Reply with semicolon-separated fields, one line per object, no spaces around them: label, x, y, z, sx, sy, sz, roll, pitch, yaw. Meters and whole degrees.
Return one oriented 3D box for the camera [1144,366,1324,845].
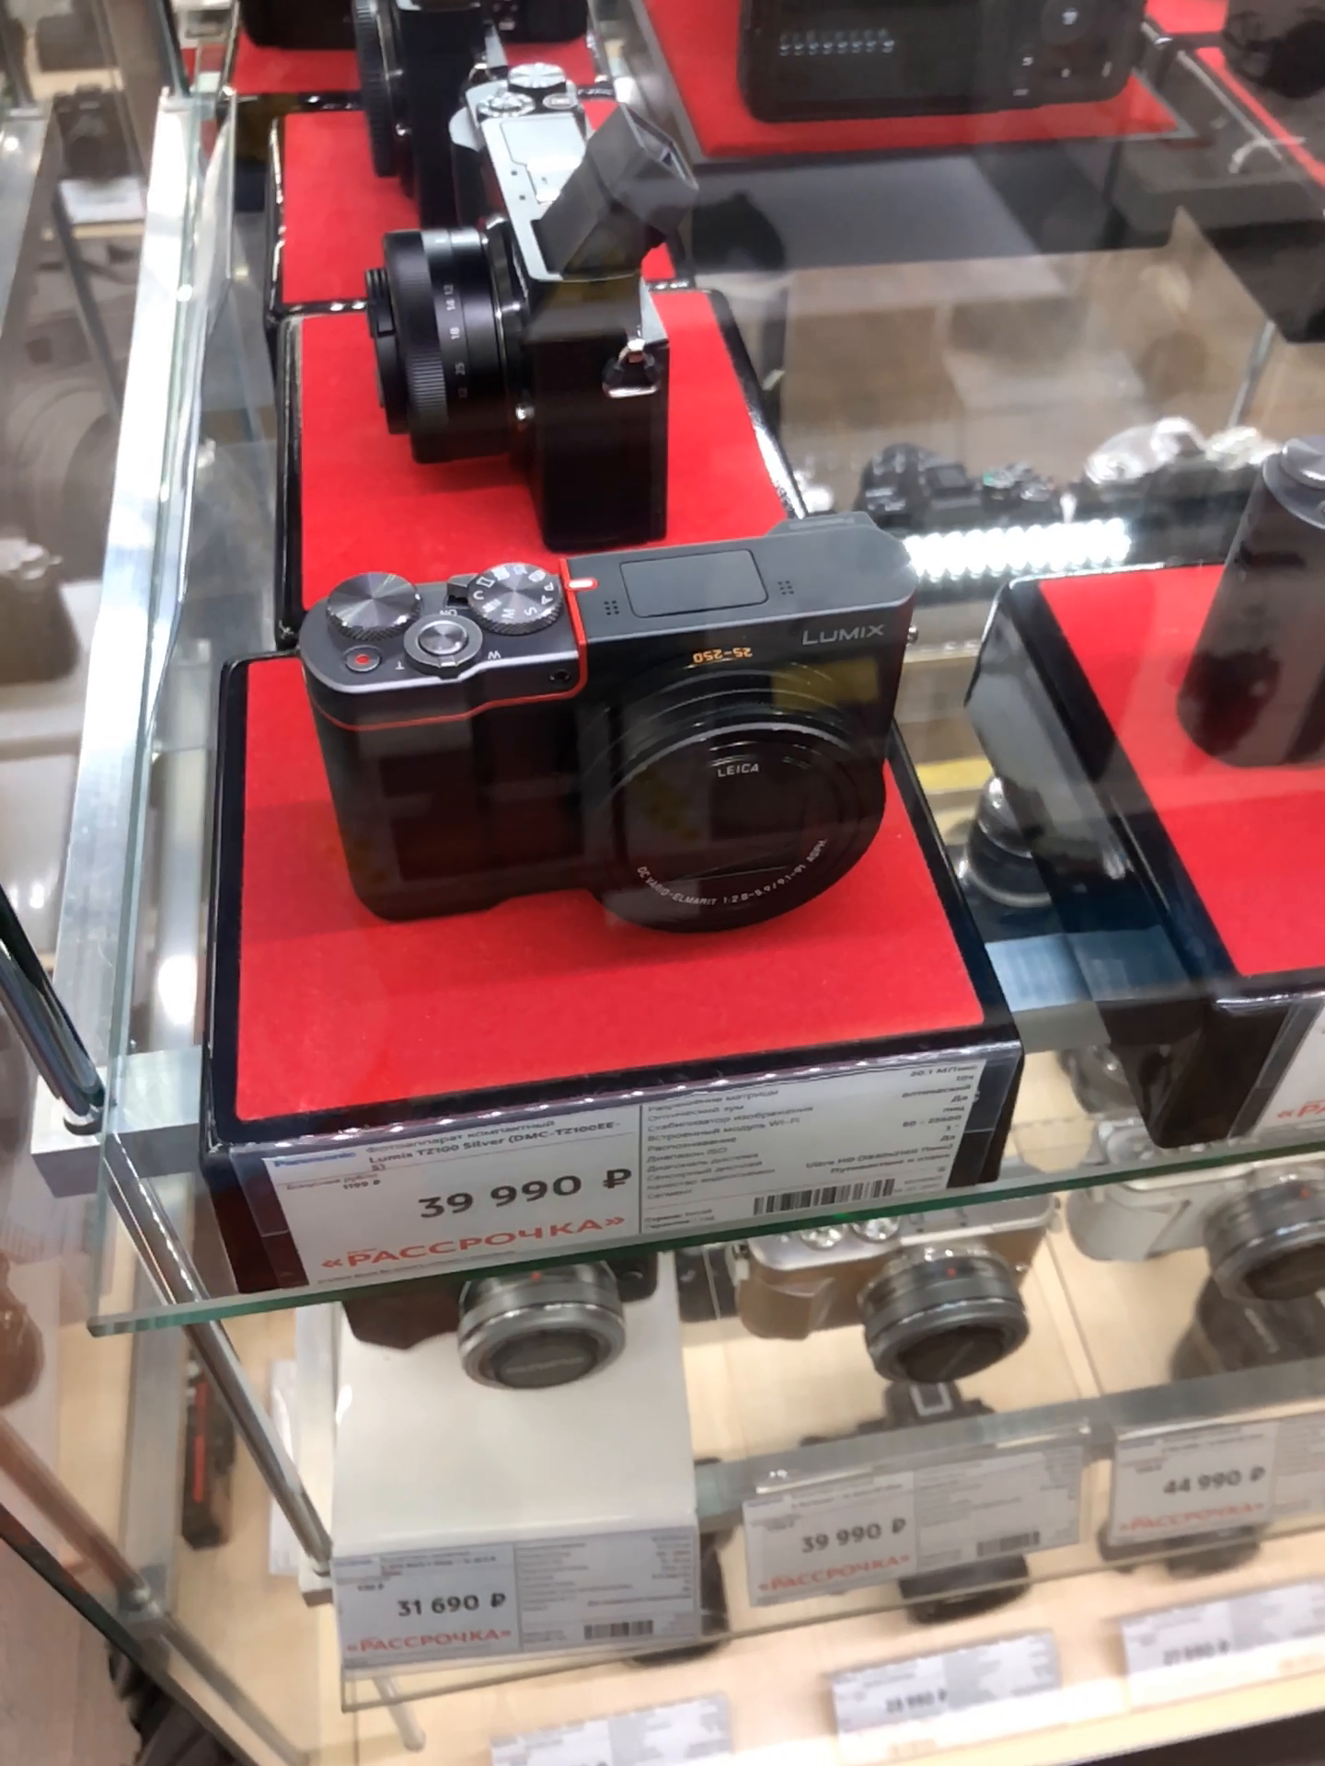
camera;0.168;-0.055;0.294;0.113;0.070;0.051;-5;50;-5

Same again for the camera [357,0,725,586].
camera;-0.032;-0.155;0.374;0.069;0.101;0.113;-8;50;-8

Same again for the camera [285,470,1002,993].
camera;-0.006;-0.027;0.272;0.113;0.070;0.050;-7;50;-7
